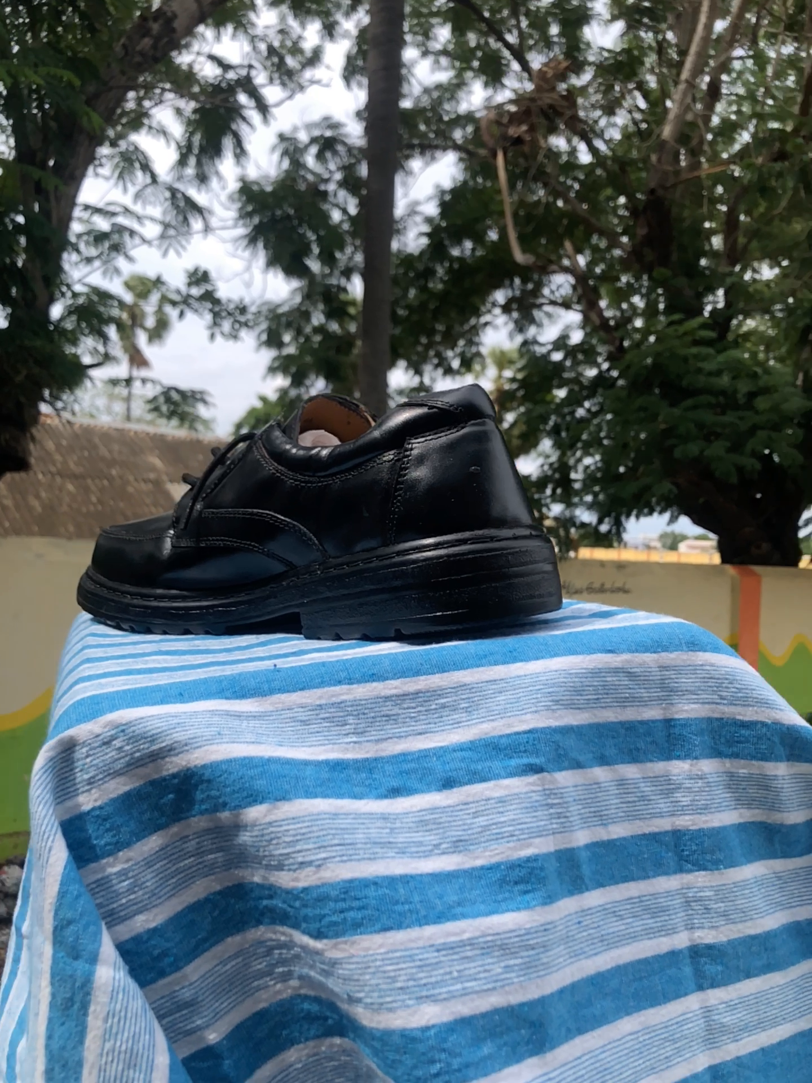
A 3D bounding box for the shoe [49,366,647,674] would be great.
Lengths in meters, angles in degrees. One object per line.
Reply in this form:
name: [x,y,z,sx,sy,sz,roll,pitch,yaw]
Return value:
shoe: [-0.045,-0.013,0.429,0.289,0.100,0.110,2,4,41]
